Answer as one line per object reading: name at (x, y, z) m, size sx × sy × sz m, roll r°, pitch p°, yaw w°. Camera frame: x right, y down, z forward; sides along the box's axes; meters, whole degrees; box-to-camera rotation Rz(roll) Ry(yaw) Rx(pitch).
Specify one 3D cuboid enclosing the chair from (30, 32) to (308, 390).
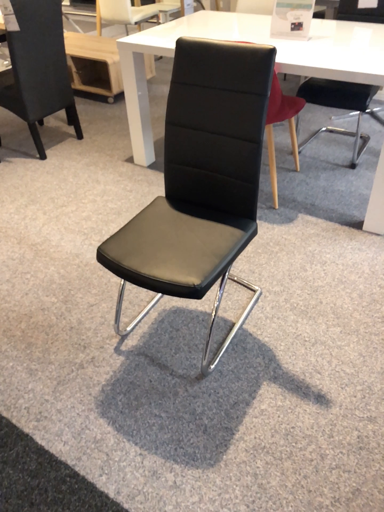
chair at (-0.011, -0.147, 1.368) m, size 0.490 × 0.905 × 0.564 m, roll 18°, pitch 44°, yaw 24°
